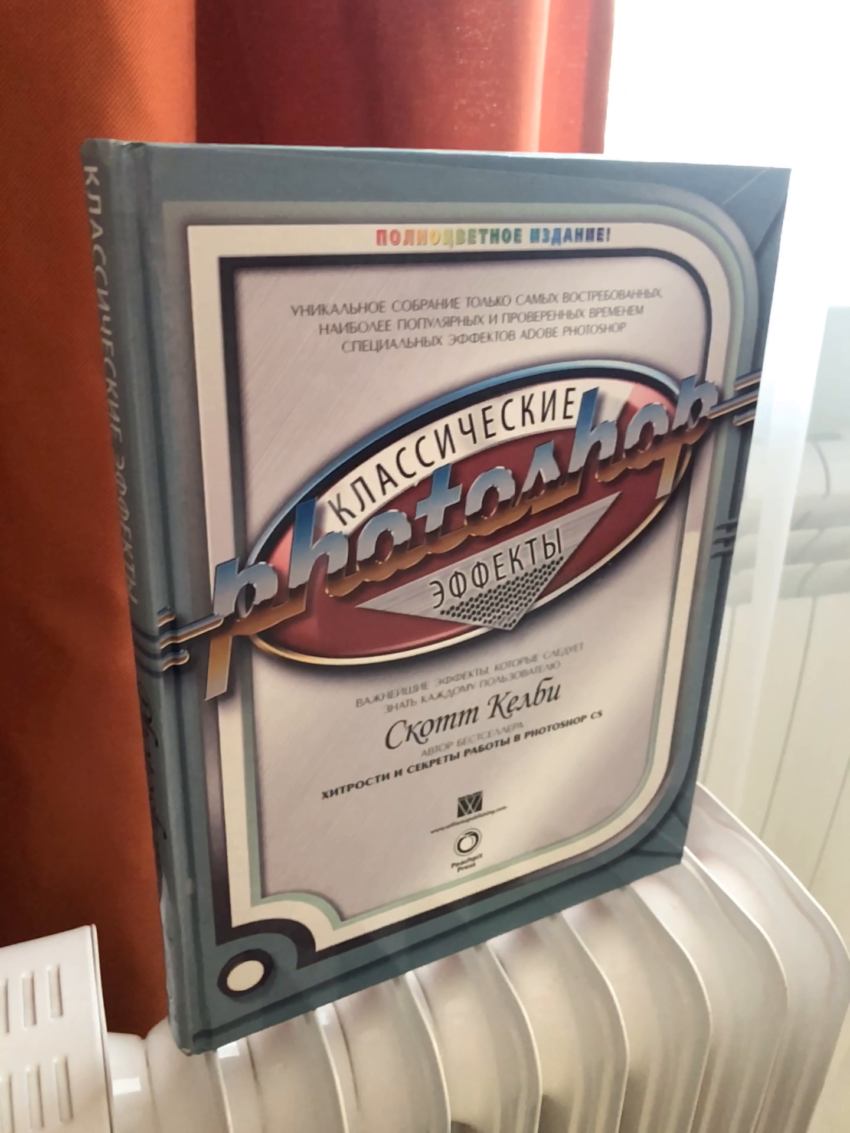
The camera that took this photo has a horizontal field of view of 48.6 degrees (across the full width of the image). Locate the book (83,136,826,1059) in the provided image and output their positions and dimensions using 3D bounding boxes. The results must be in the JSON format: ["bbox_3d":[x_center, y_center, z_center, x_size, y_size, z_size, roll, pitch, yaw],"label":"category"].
[{"bbox_3d":[0.017,0.009,0.324,0.225,0.275,0.040,-10,26,-27],"label":"book"}]
